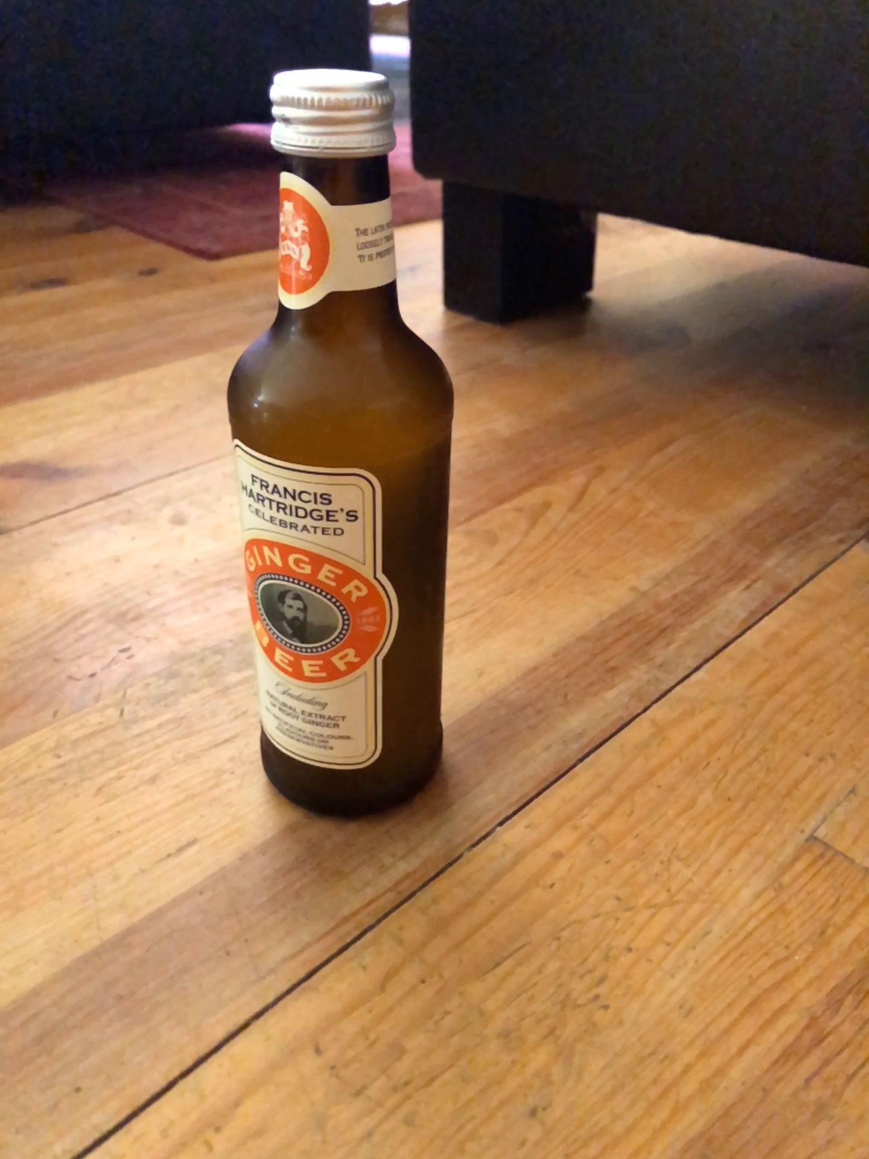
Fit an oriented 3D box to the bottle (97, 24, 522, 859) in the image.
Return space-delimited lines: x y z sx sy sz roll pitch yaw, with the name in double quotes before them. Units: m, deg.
"bottle" -0.027 -0.030 0.265 0.070 0.209 0.060 17 35 24
